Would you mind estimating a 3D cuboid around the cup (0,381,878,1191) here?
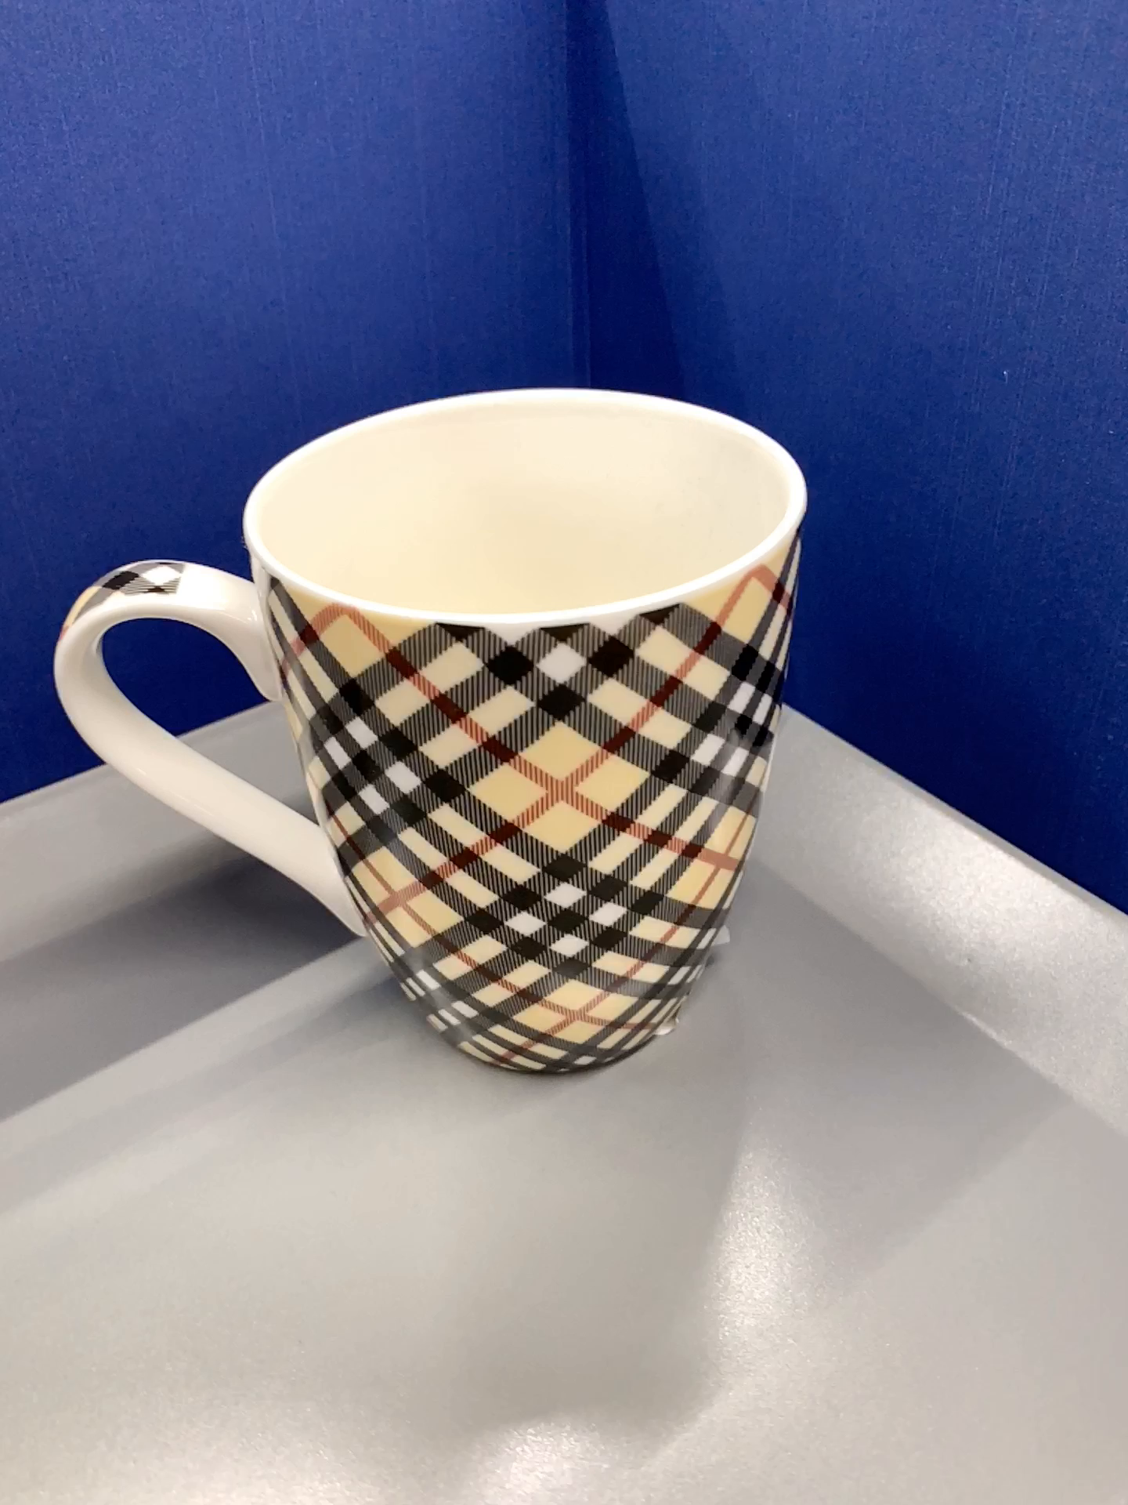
[{"bbox_3d":[-0.022,0.003,0.203,0.120,0.104,0.091,0,34,2],"label":"cup"}]
